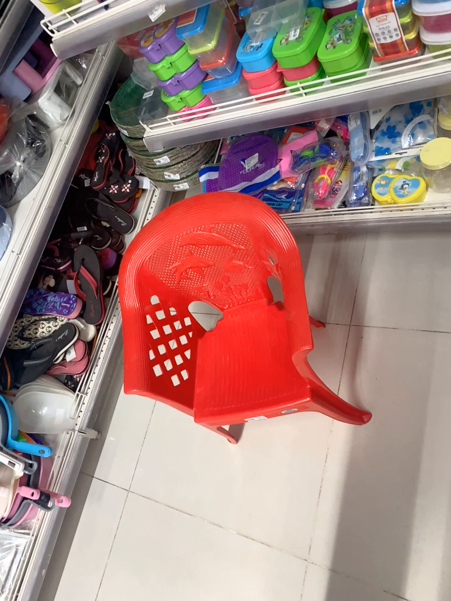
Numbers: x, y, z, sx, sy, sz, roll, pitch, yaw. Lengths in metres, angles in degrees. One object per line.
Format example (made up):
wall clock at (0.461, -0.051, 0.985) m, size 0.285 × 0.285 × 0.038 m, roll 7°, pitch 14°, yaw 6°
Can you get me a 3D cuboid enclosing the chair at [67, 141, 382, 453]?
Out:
chair at (0.019, 0.055, 1.093) m, size 0.502 × 0.478 × 0.491 m, roll -16°, pitch 59°, yaw 27°
